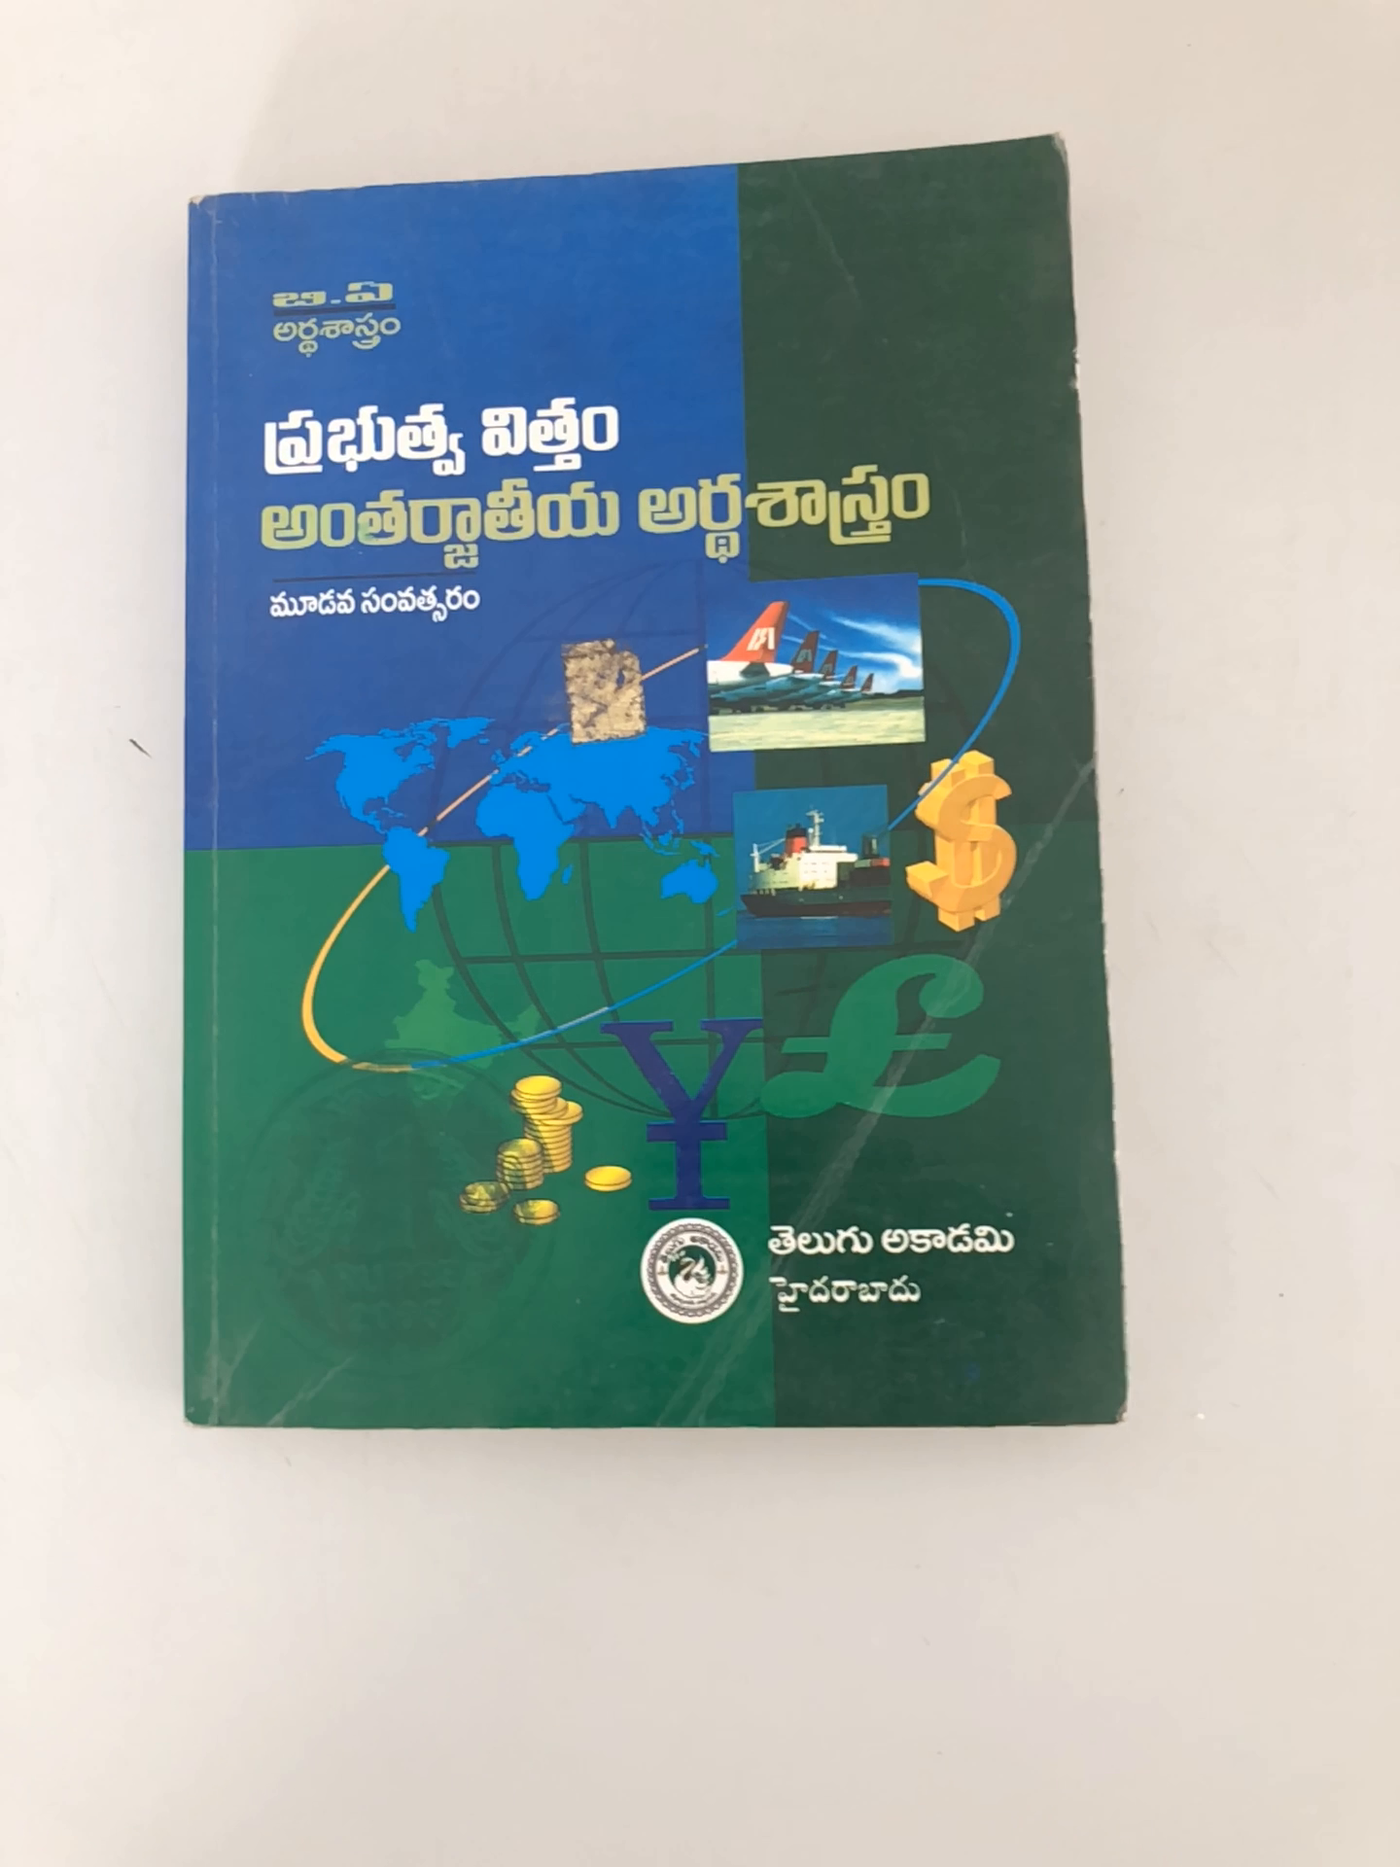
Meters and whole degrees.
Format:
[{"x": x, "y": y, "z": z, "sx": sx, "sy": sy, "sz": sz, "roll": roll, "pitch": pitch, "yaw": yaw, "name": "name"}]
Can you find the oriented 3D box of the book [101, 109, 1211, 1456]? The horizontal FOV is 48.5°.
[{"x": -0.010, "y": -0.028, "z": 0.303, "sx": 0.190, "sy": 0.050, "sz": 0.240, "roll": -1, "pitch": 83, "yaw": 4, "name": "book"}]
